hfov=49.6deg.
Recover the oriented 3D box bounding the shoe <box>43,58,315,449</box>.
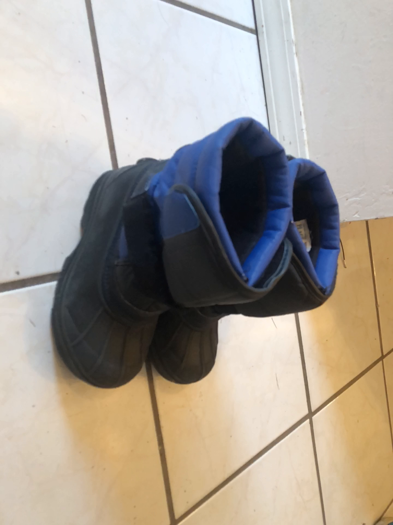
[{"bbox_3d":[-0.021,0.000,0.352,0.100,0.199,0.230,12,78,-44],"label":"shoe"}]

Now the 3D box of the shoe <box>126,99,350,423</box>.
[{"bbox_3d":[0.037,0.004,0.430,0.100,0.199,0.250,10,80,-44],"label":"shoe"}]
